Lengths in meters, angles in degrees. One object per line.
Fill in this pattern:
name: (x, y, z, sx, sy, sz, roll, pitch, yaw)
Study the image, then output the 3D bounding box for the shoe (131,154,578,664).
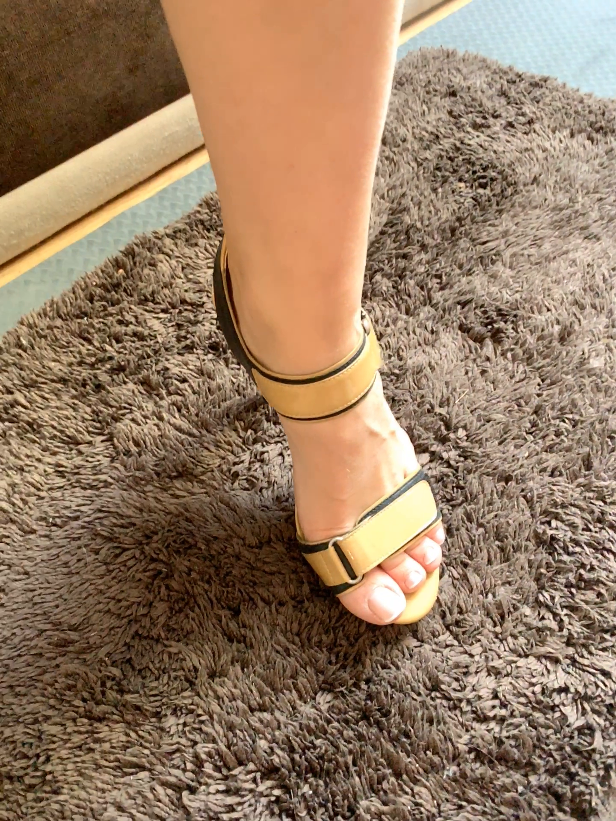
shoe: (0.008, 0.000, 0.328, 0.090, 0.149, 0.201, -28, 60, -16)
